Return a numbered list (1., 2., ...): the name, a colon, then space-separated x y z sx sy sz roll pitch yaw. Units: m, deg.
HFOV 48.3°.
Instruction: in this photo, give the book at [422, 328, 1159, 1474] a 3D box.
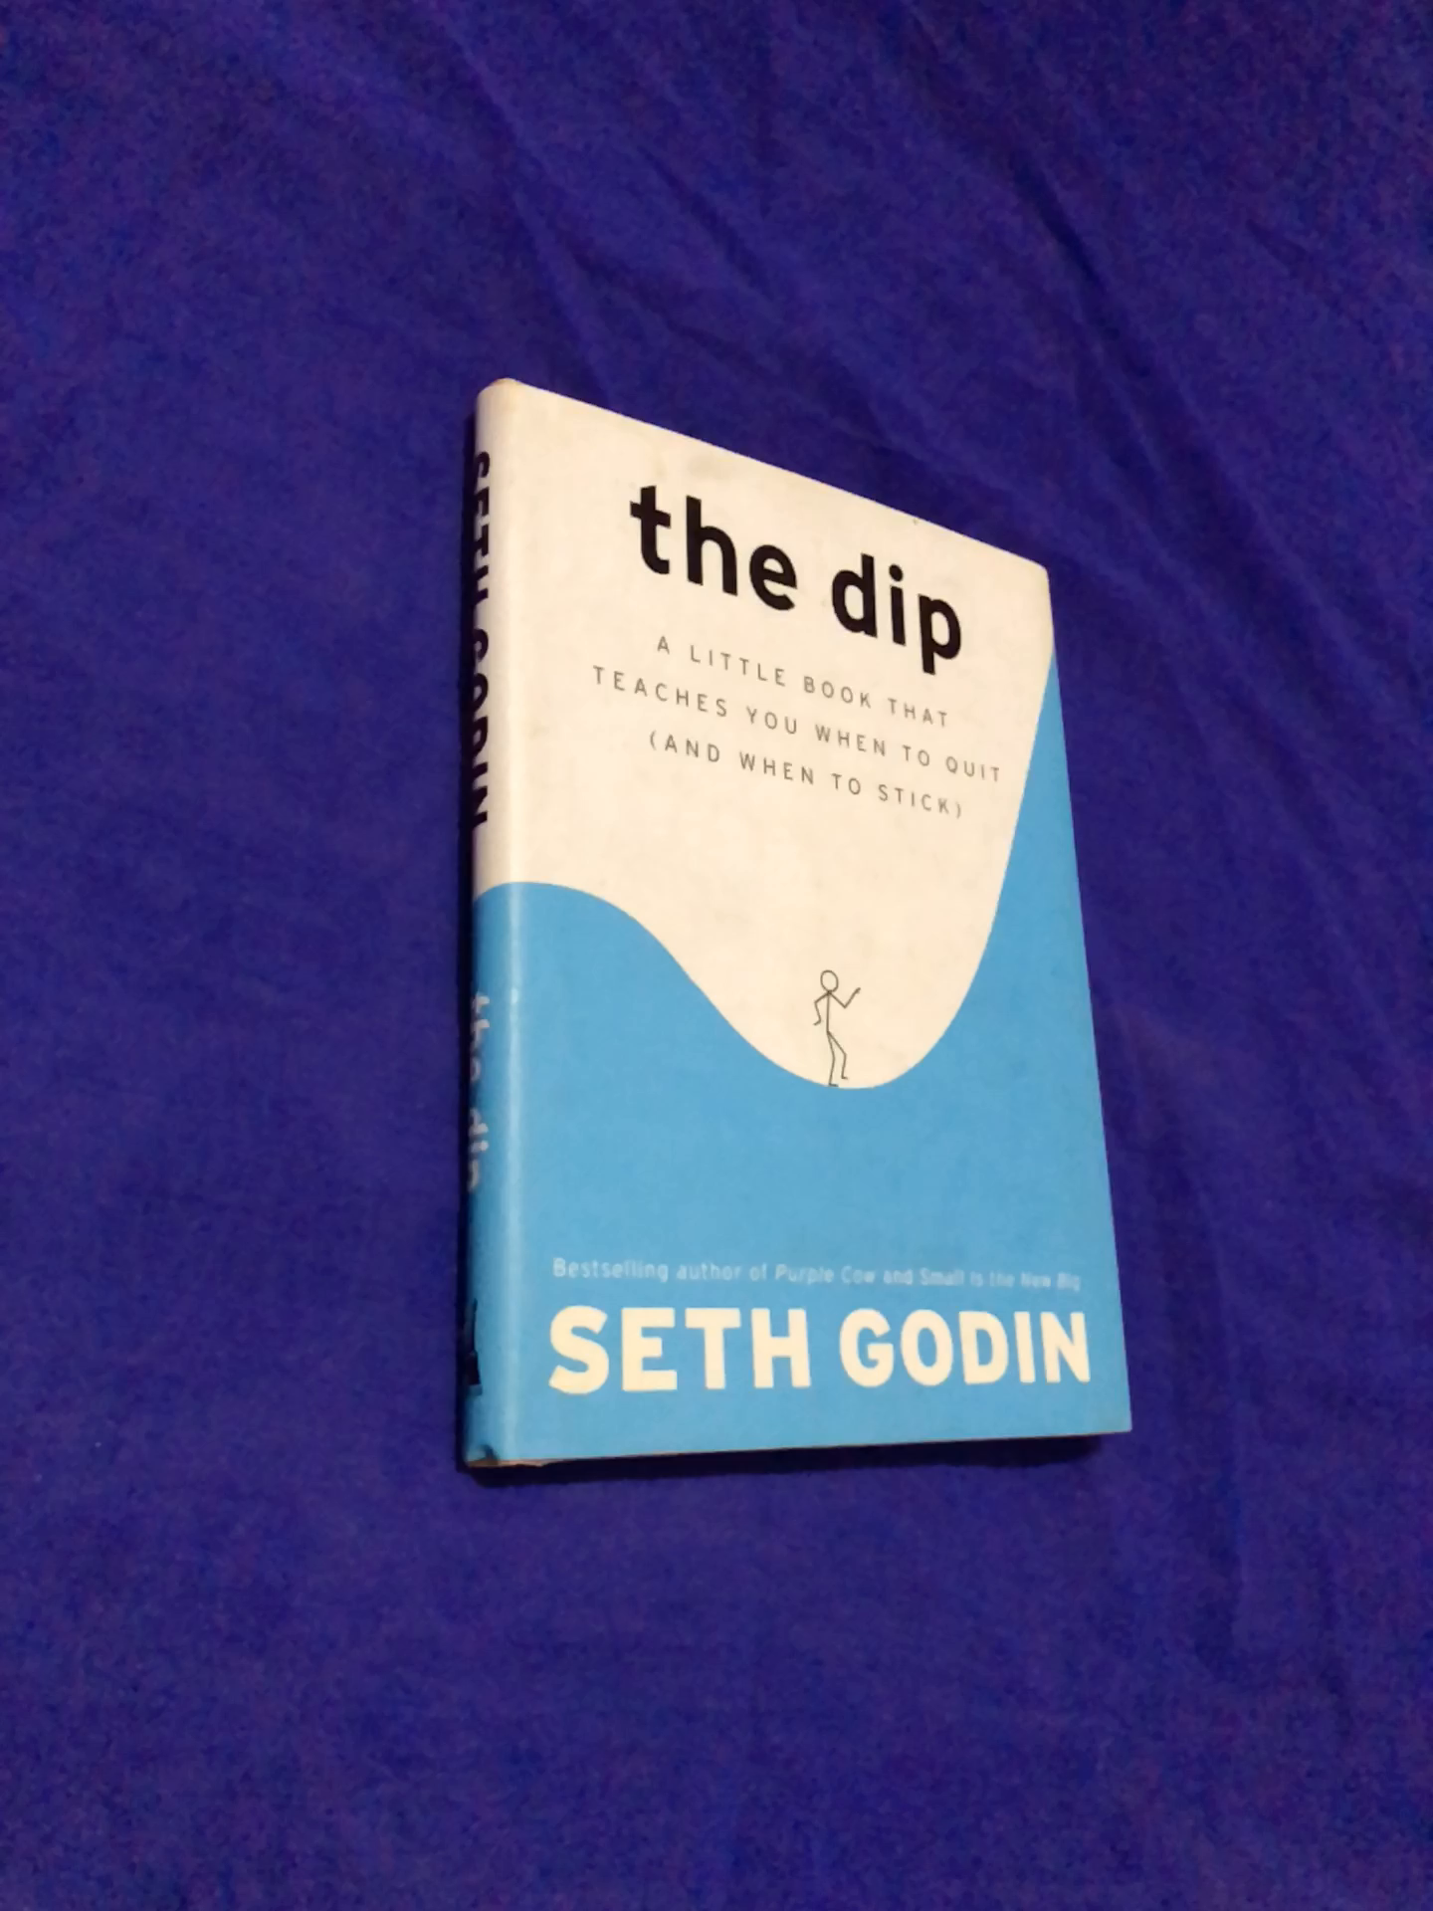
1. book: 0.015 -0.007 0.298 0.141 0.020 0.190 8 70 -33
